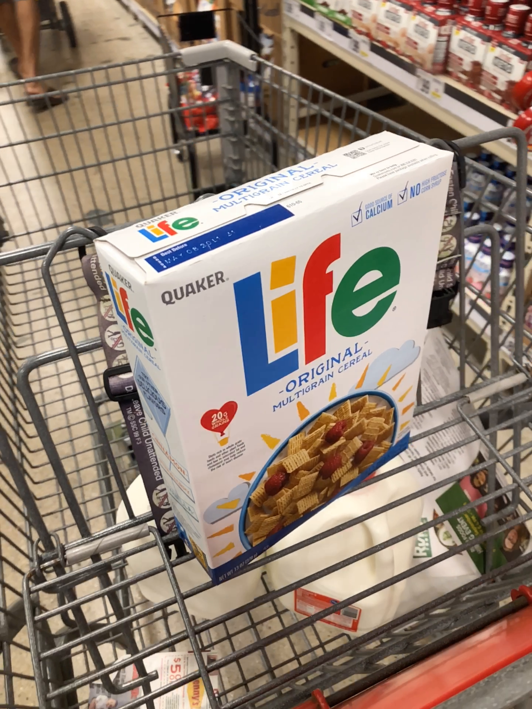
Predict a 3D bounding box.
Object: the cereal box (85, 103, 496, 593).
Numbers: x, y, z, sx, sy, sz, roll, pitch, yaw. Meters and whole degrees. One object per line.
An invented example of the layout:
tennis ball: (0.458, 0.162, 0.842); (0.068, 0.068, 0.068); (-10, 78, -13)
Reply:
cereal box: (0.027, 0.005, 0.350); (0.200, 0.240, 0.050); (-28, 46, -24)
